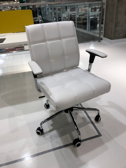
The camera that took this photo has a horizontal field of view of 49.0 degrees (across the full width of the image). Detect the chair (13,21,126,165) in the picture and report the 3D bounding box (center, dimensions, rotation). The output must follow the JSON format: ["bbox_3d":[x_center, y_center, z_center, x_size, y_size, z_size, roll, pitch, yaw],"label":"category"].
[{"bbox_3d":[0.037,-0.017,1.250,0.661,0.923,0.725,-15,31,-20],"label":"chair"}]
